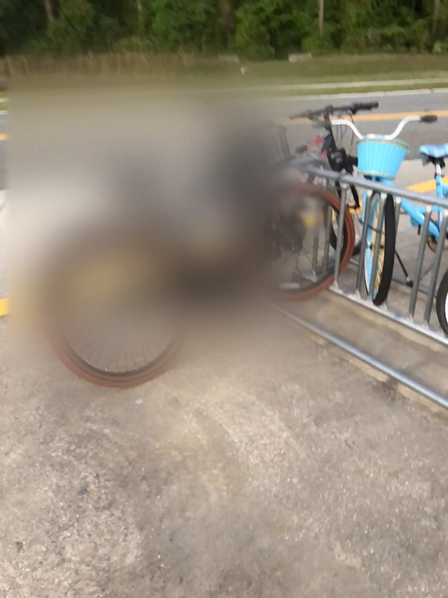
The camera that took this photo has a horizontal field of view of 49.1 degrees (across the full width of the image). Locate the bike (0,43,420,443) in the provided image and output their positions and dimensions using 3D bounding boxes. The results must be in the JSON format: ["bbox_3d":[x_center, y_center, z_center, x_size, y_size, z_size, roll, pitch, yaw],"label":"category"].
[{"bbox_3d":[-0.064,-0.427,2.328,1.724,1.117,0.832,-26,35,-30],"label":"bike"}]
